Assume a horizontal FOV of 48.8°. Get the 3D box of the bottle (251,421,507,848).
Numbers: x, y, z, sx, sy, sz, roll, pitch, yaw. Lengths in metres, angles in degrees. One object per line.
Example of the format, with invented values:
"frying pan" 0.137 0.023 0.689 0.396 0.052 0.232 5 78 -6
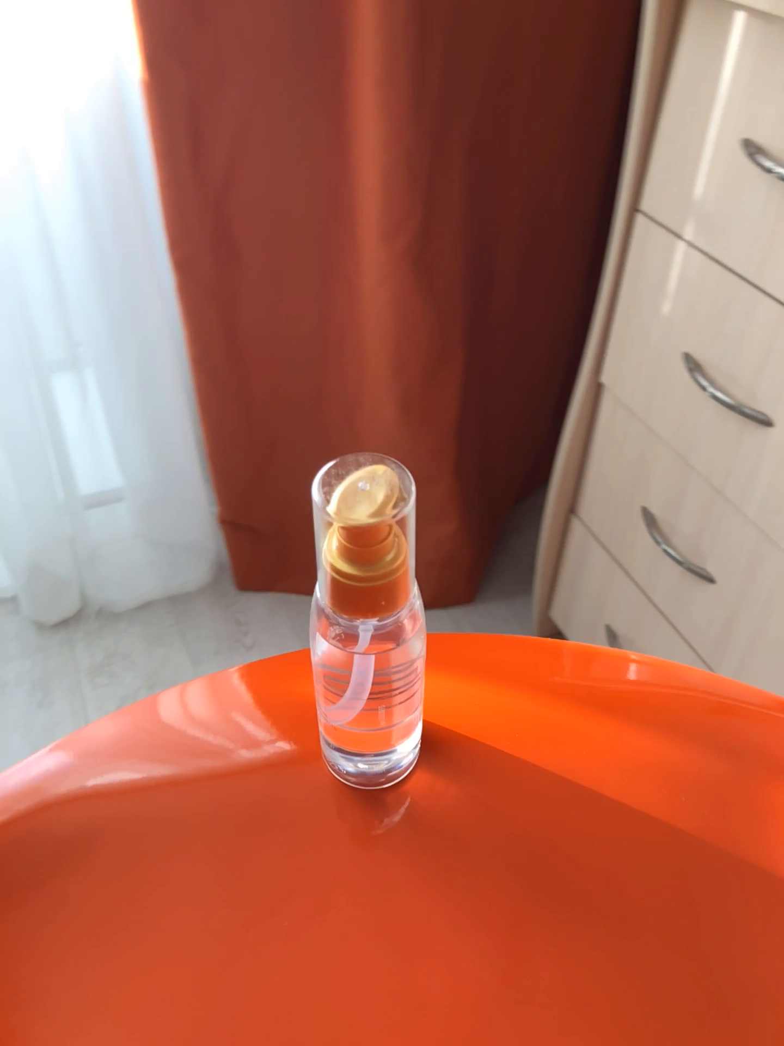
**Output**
"bottle" -0.006 0.045 0.291 0.050 0.149 0.050 1 48 -1
